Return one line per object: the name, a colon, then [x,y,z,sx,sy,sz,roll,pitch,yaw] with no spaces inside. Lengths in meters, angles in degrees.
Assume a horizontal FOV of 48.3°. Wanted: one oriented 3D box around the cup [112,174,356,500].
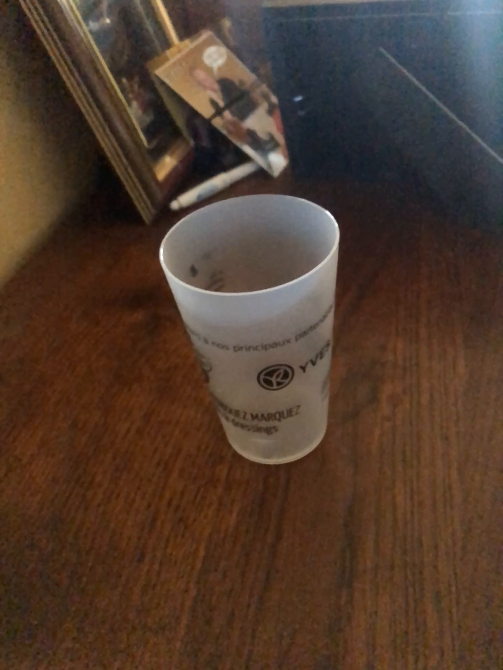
cup: [0.001,0.002,0.257,0.070,0.119,0.070,-5,42,4]
